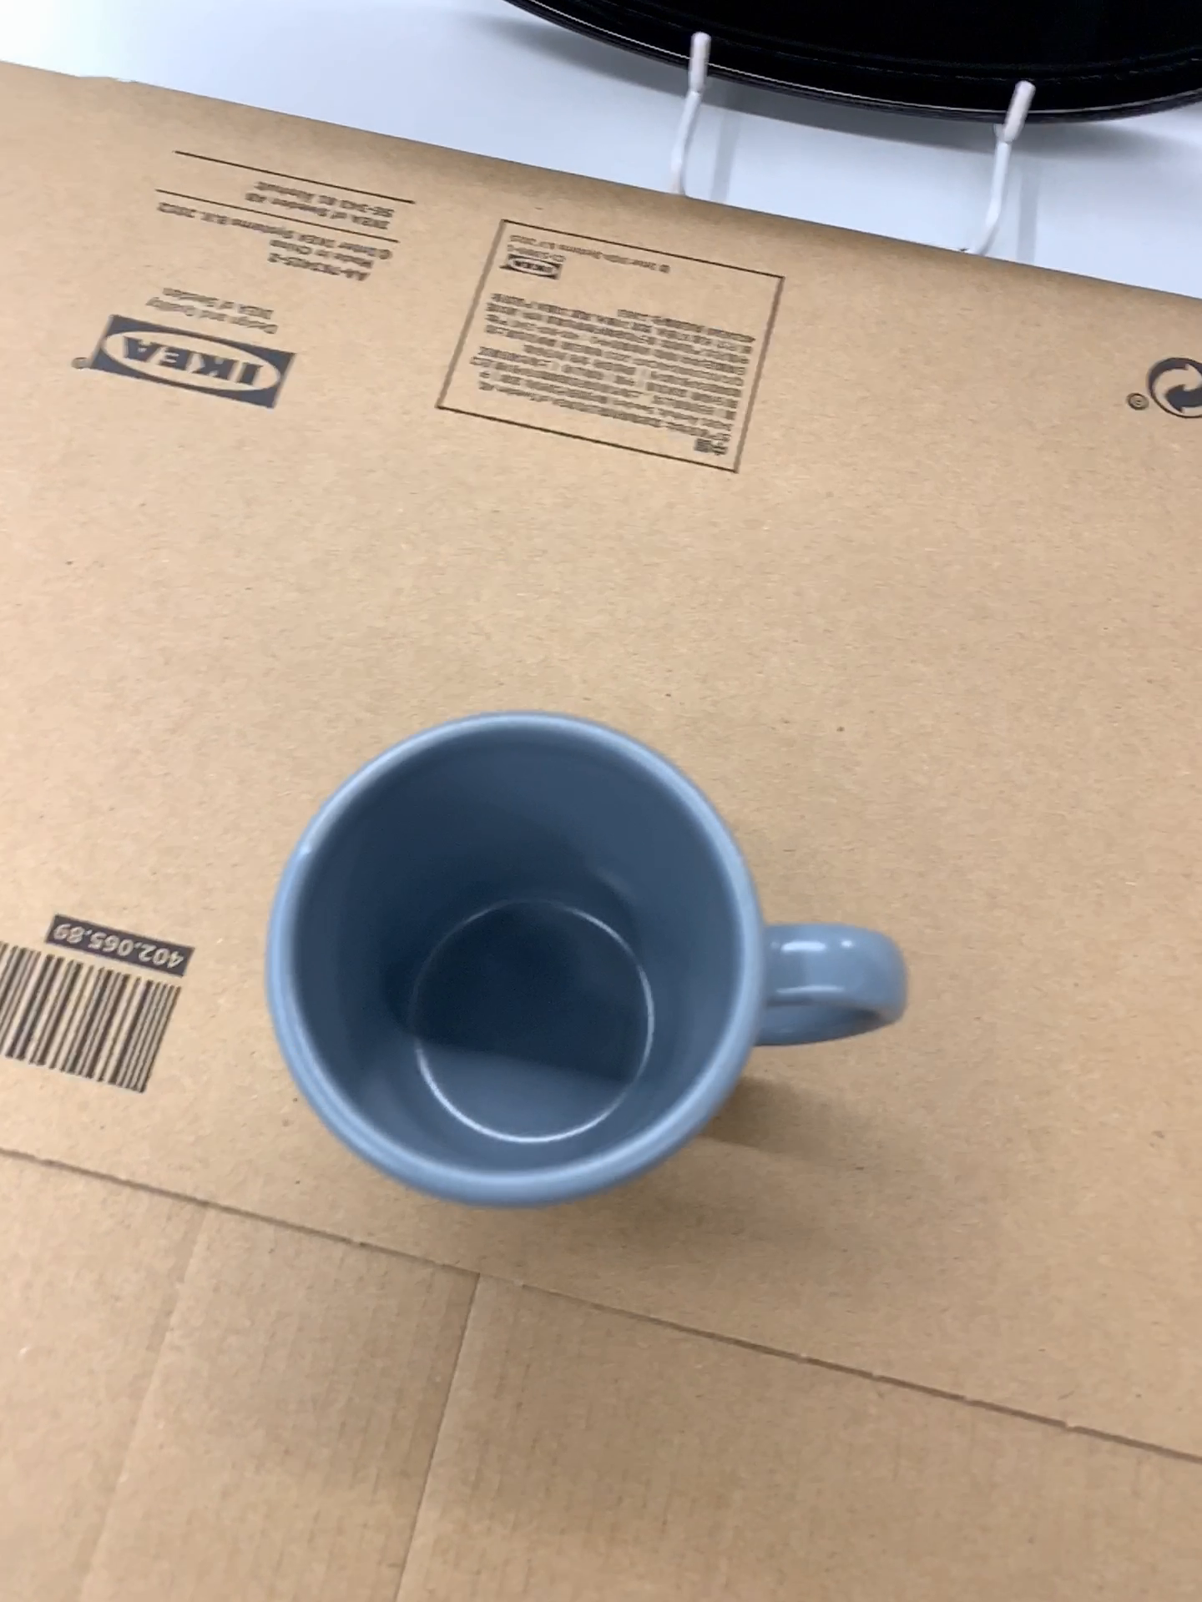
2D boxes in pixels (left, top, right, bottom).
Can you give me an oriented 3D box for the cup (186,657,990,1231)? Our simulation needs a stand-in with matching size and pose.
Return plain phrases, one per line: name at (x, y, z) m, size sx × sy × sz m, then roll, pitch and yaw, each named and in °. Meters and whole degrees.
cup at (-0.002, 0.022, 0.163) m, size 0.080 × 0.060 × 0.060 m, roll 0°, pitch 68°, yaw -2°
